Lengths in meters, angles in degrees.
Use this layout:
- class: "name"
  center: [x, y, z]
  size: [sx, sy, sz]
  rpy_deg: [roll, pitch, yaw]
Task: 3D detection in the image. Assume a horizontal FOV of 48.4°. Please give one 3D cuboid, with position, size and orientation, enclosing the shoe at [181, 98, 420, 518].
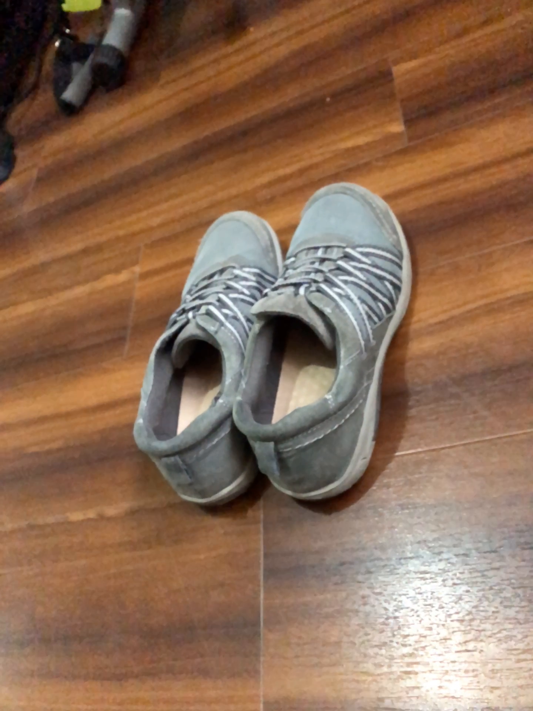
- class: "shoe"
  center: [0.042, -0.038, 0.438]
  size: [0.100, 0.109, 0.281]
  rpy_deg: [-5, 58, 28]

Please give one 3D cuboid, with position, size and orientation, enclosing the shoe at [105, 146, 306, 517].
- class: "shoe"
  center: [-0.037, -0.026, 0.497]
  size: [0.100, 0.109, 0.281]
  rpy_deg: [-14, 54, 22]
